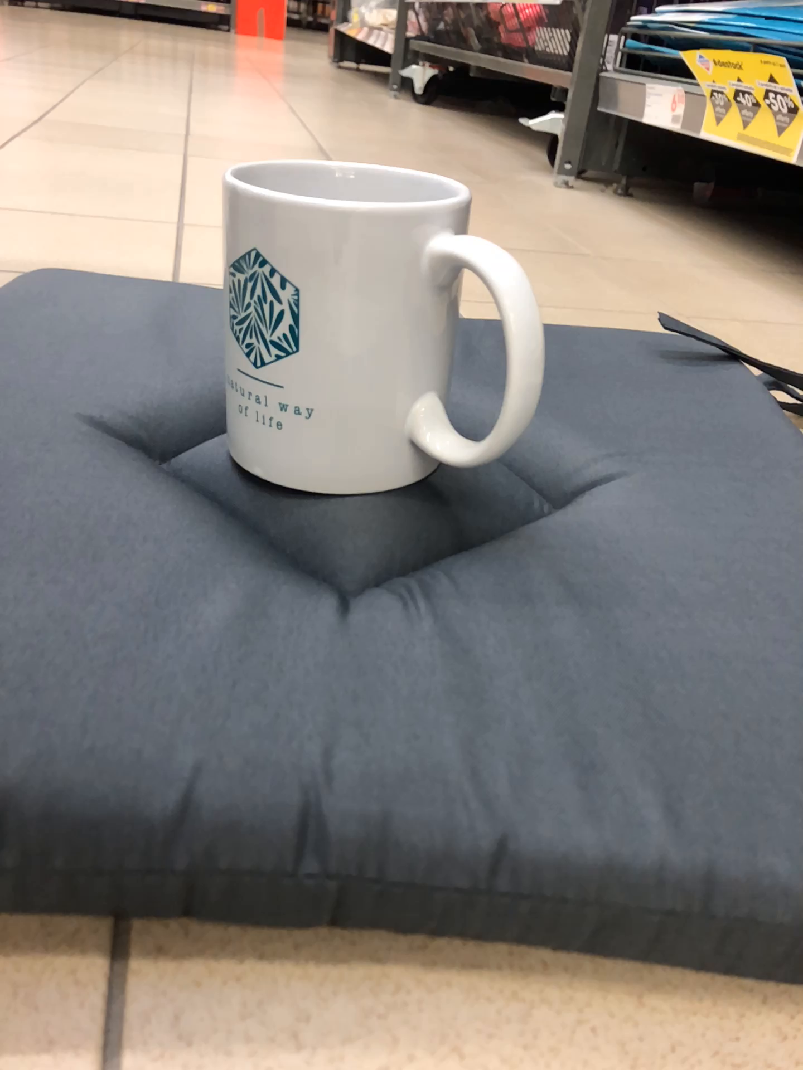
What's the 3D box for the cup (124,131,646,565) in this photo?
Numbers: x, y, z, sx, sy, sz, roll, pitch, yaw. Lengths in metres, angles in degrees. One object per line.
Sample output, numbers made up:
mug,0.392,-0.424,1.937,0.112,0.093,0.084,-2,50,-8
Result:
cup,-0.011,-0.071,0.285,0.130,0.089,0.091,29,35,33
